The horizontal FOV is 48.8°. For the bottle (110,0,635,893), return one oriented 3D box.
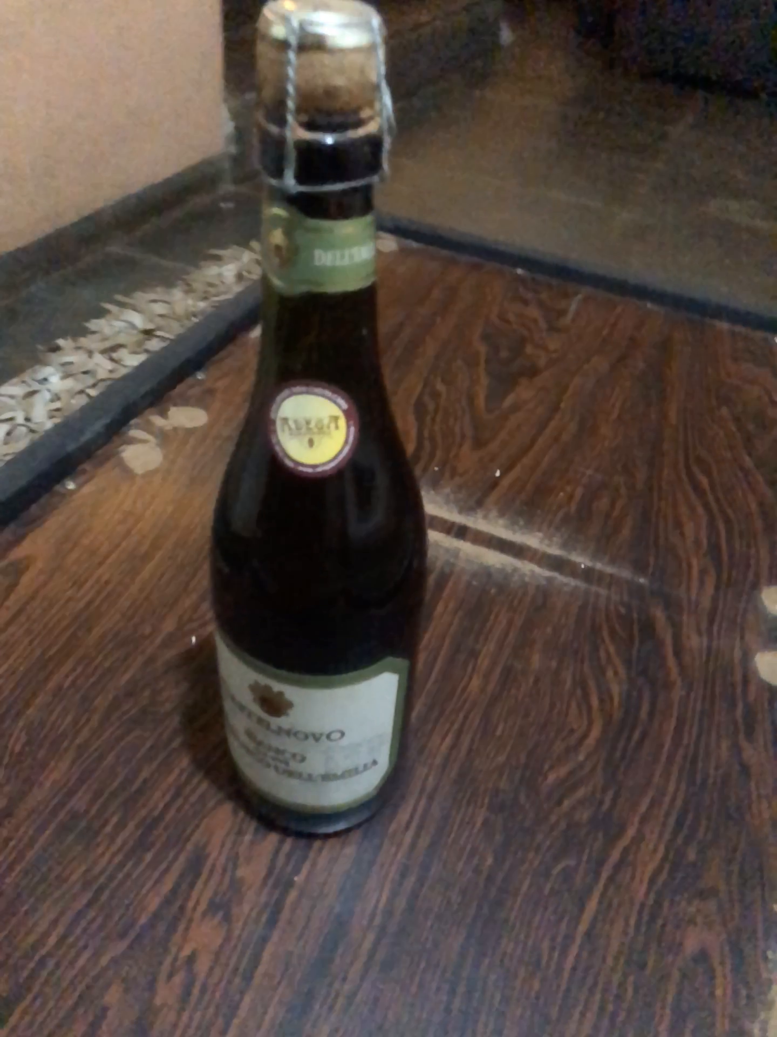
[{"bbox_3d":[-0.013,-0.007,0.293,0.090,0.298,0.091,4,39,-4],"label":"bottle"}]
